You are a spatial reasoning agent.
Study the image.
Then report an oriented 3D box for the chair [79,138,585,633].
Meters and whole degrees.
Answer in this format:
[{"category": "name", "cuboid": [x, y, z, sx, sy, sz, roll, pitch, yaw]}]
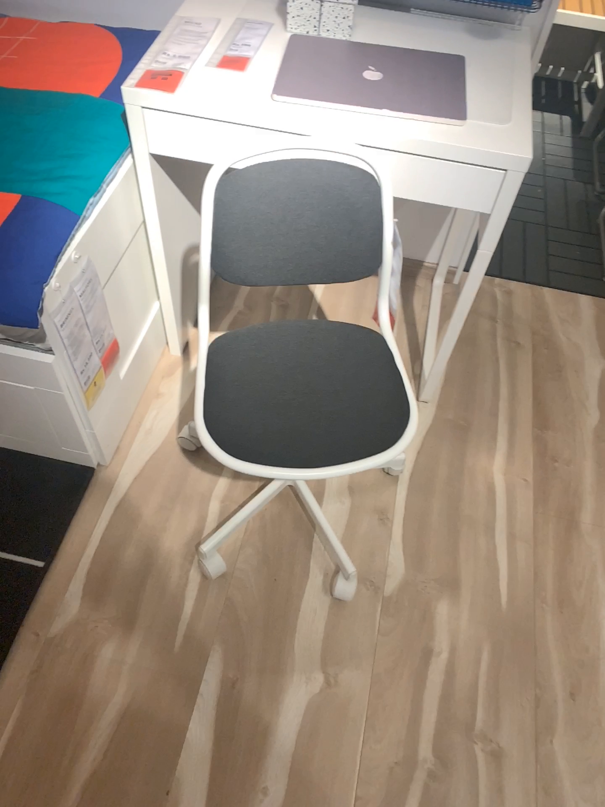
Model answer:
[{"category": "chair", "cuboid": [-0.008, -0.012, 1.107, 0.570, 0.628, 0.592, -4, 55, -7]}]
